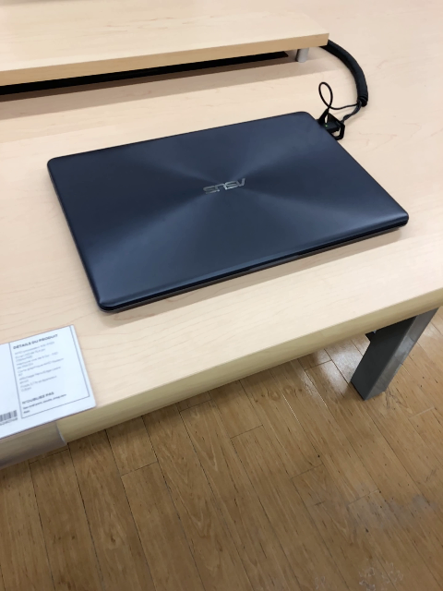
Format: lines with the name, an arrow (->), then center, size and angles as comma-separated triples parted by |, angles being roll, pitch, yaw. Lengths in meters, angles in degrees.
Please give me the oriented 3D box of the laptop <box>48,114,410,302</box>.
laptop -> 0.005, -0.123, 0.555 | 0.346, 0.002, 0.229 | -17, 53, -18
